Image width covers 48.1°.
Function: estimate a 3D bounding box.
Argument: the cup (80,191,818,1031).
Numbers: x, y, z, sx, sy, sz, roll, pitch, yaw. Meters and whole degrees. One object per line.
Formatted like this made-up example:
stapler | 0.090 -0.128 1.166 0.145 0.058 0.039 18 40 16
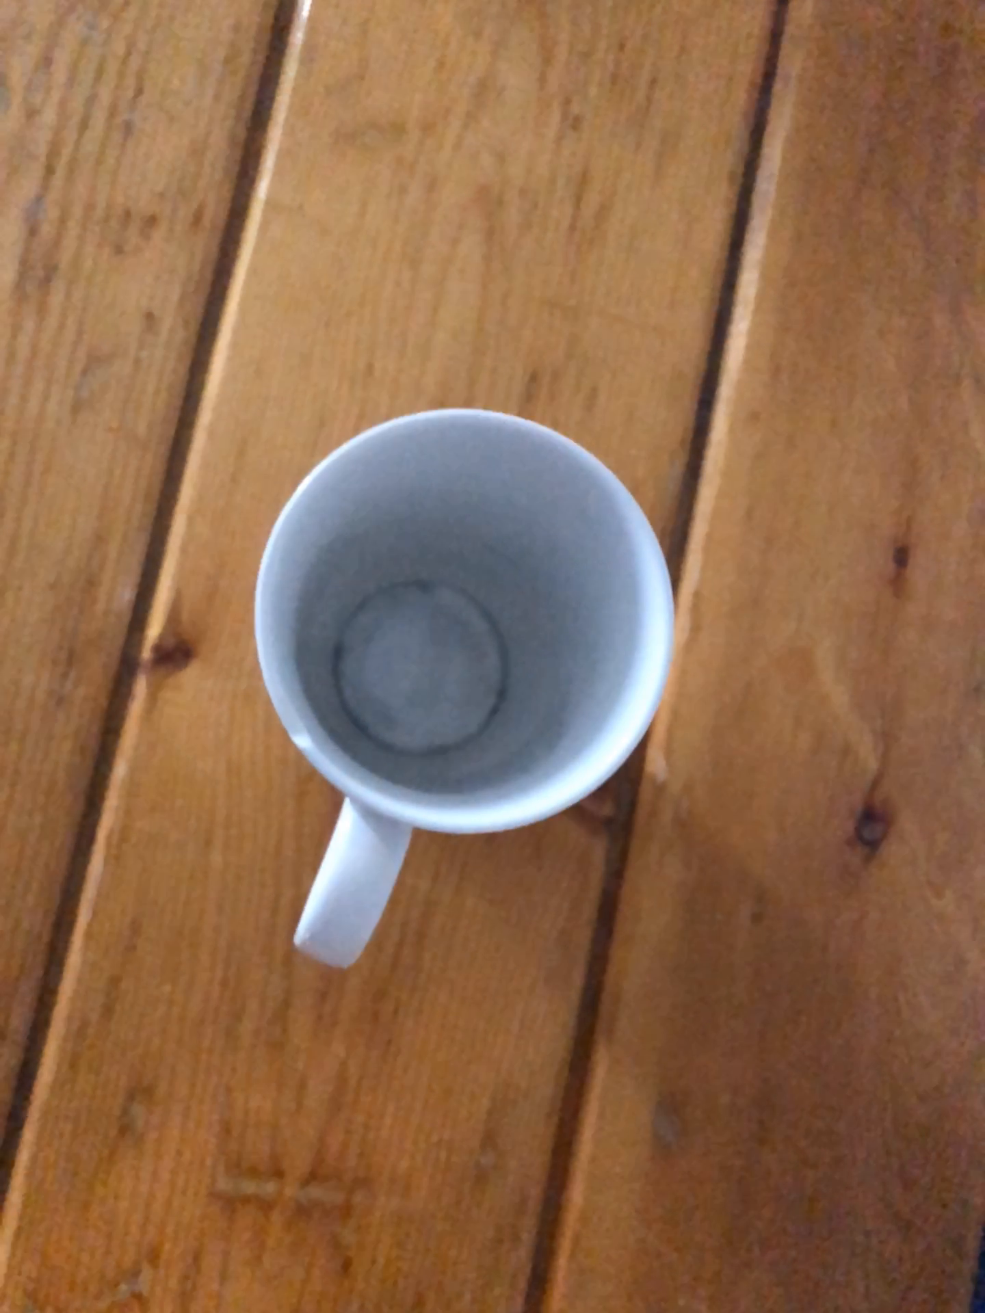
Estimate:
cup | -0.011 -0.005 0.279 0.100 0.120 0.140 23 83 -3
